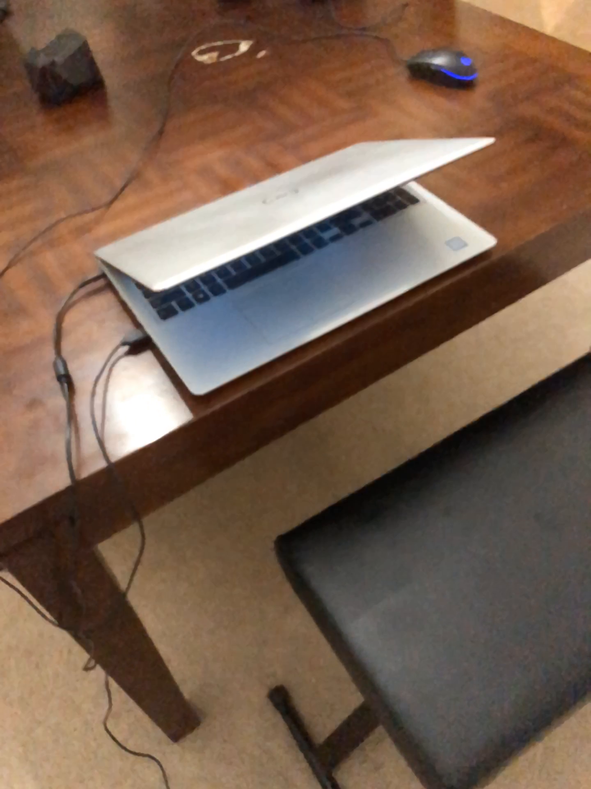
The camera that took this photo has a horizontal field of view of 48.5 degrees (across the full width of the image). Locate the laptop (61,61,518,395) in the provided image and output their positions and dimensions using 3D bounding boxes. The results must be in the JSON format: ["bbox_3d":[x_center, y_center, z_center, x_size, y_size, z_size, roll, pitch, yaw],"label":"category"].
[{"bbox_3d":[-0.007,-0.194,0.685,0.368,0.103,0.250,-28,55,-17],"label":"laptop"}]
